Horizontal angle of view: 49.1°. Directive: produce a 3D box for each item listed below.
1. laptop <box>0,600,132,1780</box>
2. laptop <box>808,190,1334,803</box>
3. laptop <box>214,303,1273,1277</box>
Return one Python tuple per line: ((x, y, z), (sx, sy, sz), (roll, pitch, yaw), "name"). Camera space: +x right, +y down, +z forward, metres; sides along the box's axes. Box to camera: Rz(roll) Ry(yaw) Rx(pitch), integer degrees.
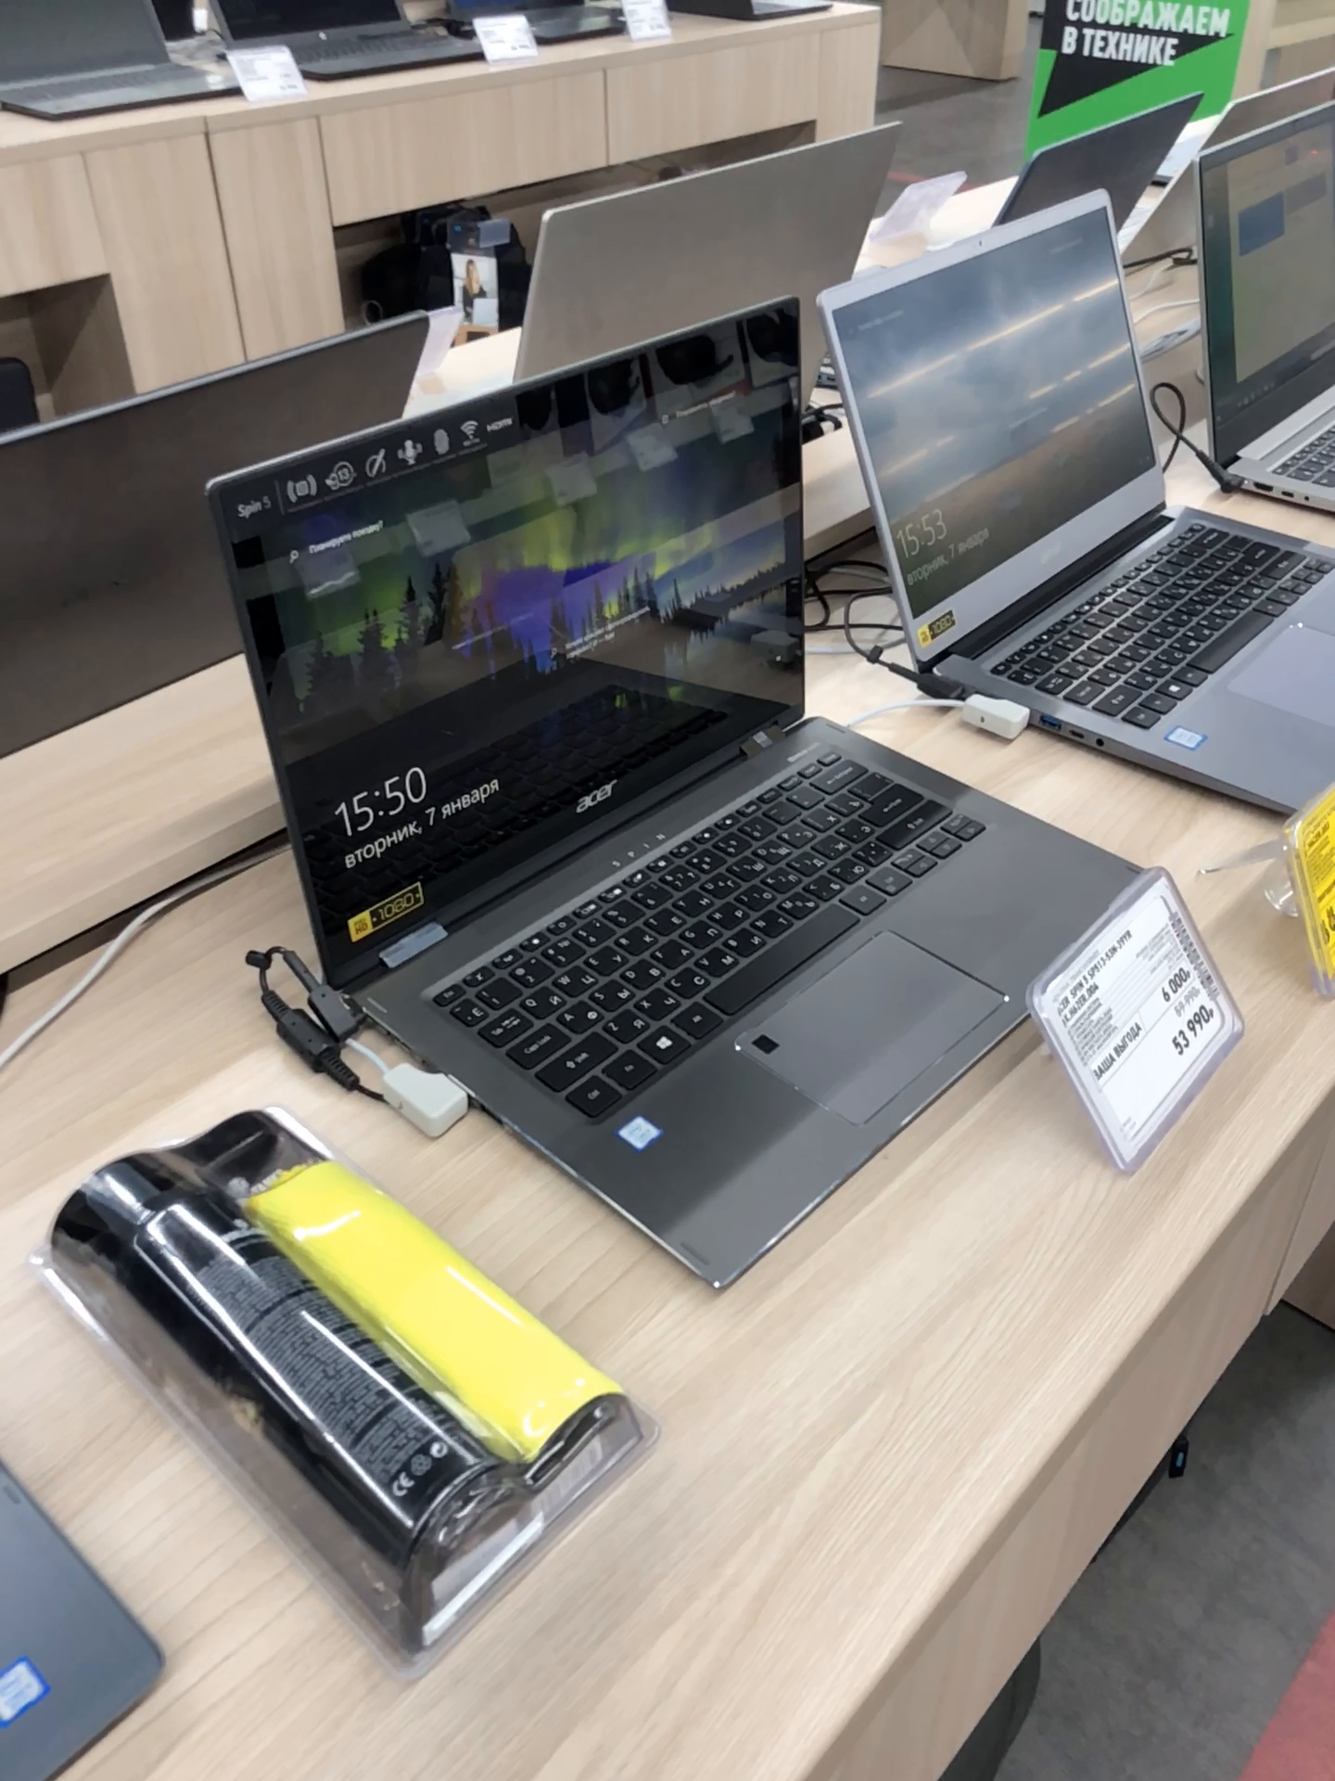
((-0.363, 0.145, 0.314), (0.288, 0.215, 0.341), (30, 47, 32), "laptop")
((0.295, -0.243, 0.834), (0.298, 0.196, 0.271), (28, 47, 32), "laptop")
((0.037, -0.073, 0.604), (0.246, 0.215, 0.315), (30, 46, 33), "laptop")
